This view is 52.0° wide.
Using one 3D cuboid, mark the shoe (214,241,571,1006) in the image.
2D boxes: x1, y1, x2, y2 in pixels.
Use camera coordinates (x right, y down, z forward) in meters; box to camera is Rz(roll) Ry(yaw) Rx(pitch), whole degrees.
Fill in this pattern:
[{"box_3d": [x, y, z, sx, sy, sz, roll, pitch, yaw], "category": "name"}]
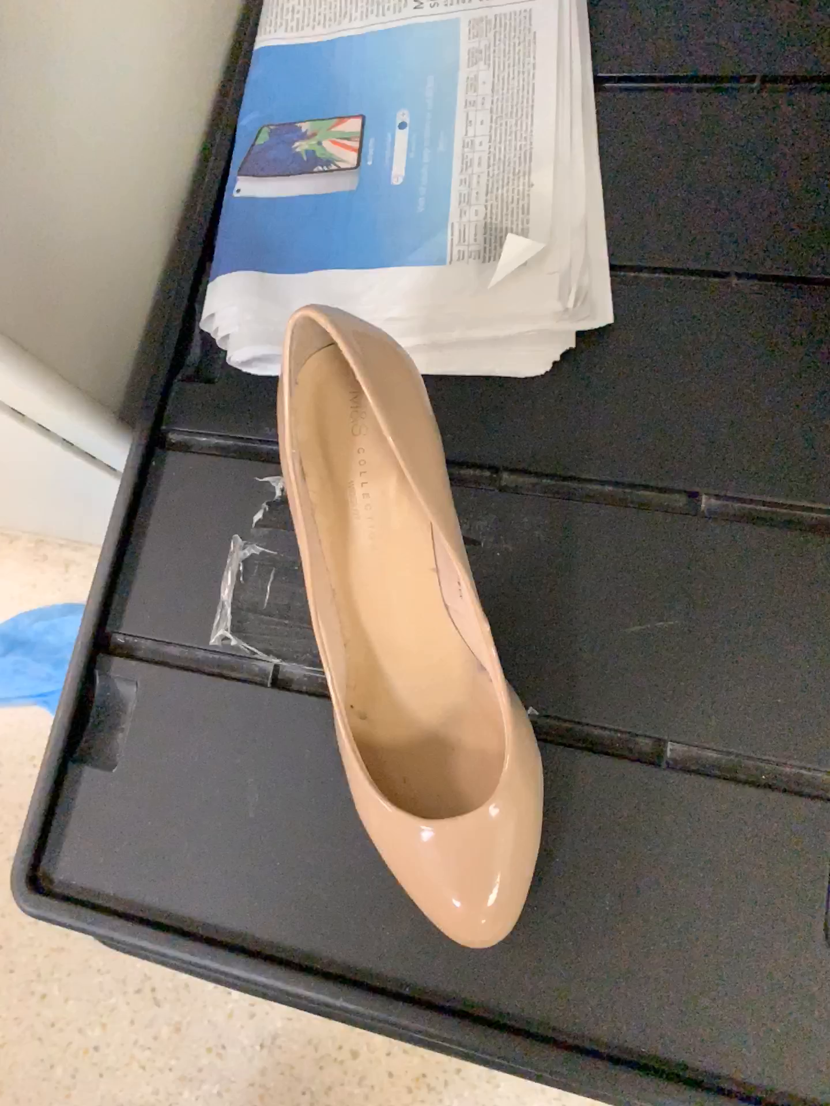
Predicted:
[{"box_3d": [-0.003, 0.030, 0.339, 0.096, 0.141, 0.240, -7, 74, 11], "category": "shoe"}]
